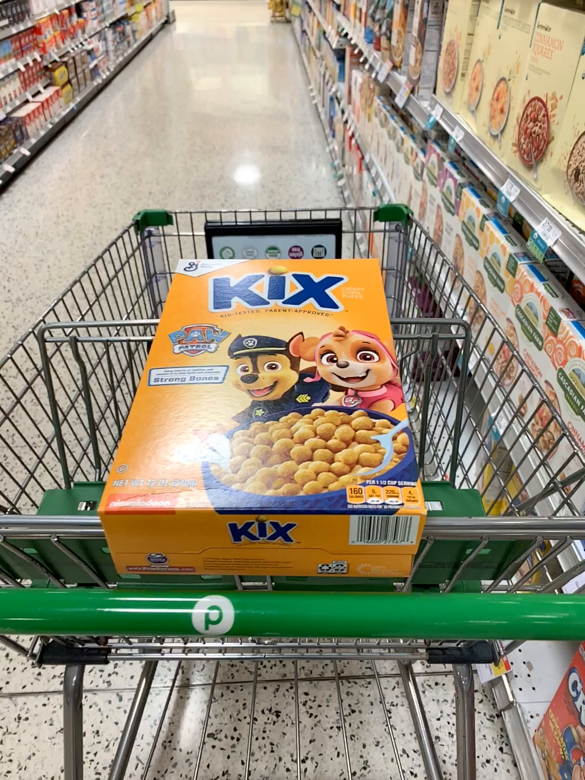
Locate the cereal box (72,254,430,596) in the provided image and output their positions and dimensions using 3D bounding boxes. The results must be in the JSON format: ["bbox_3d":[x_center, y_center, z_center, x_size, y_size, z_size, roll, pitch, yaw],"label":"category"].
[{"bbox_3d":[-0.022,0.001,0.501,0.210,0.079,0.323,0,41,1],"label":"cereal box"}]
